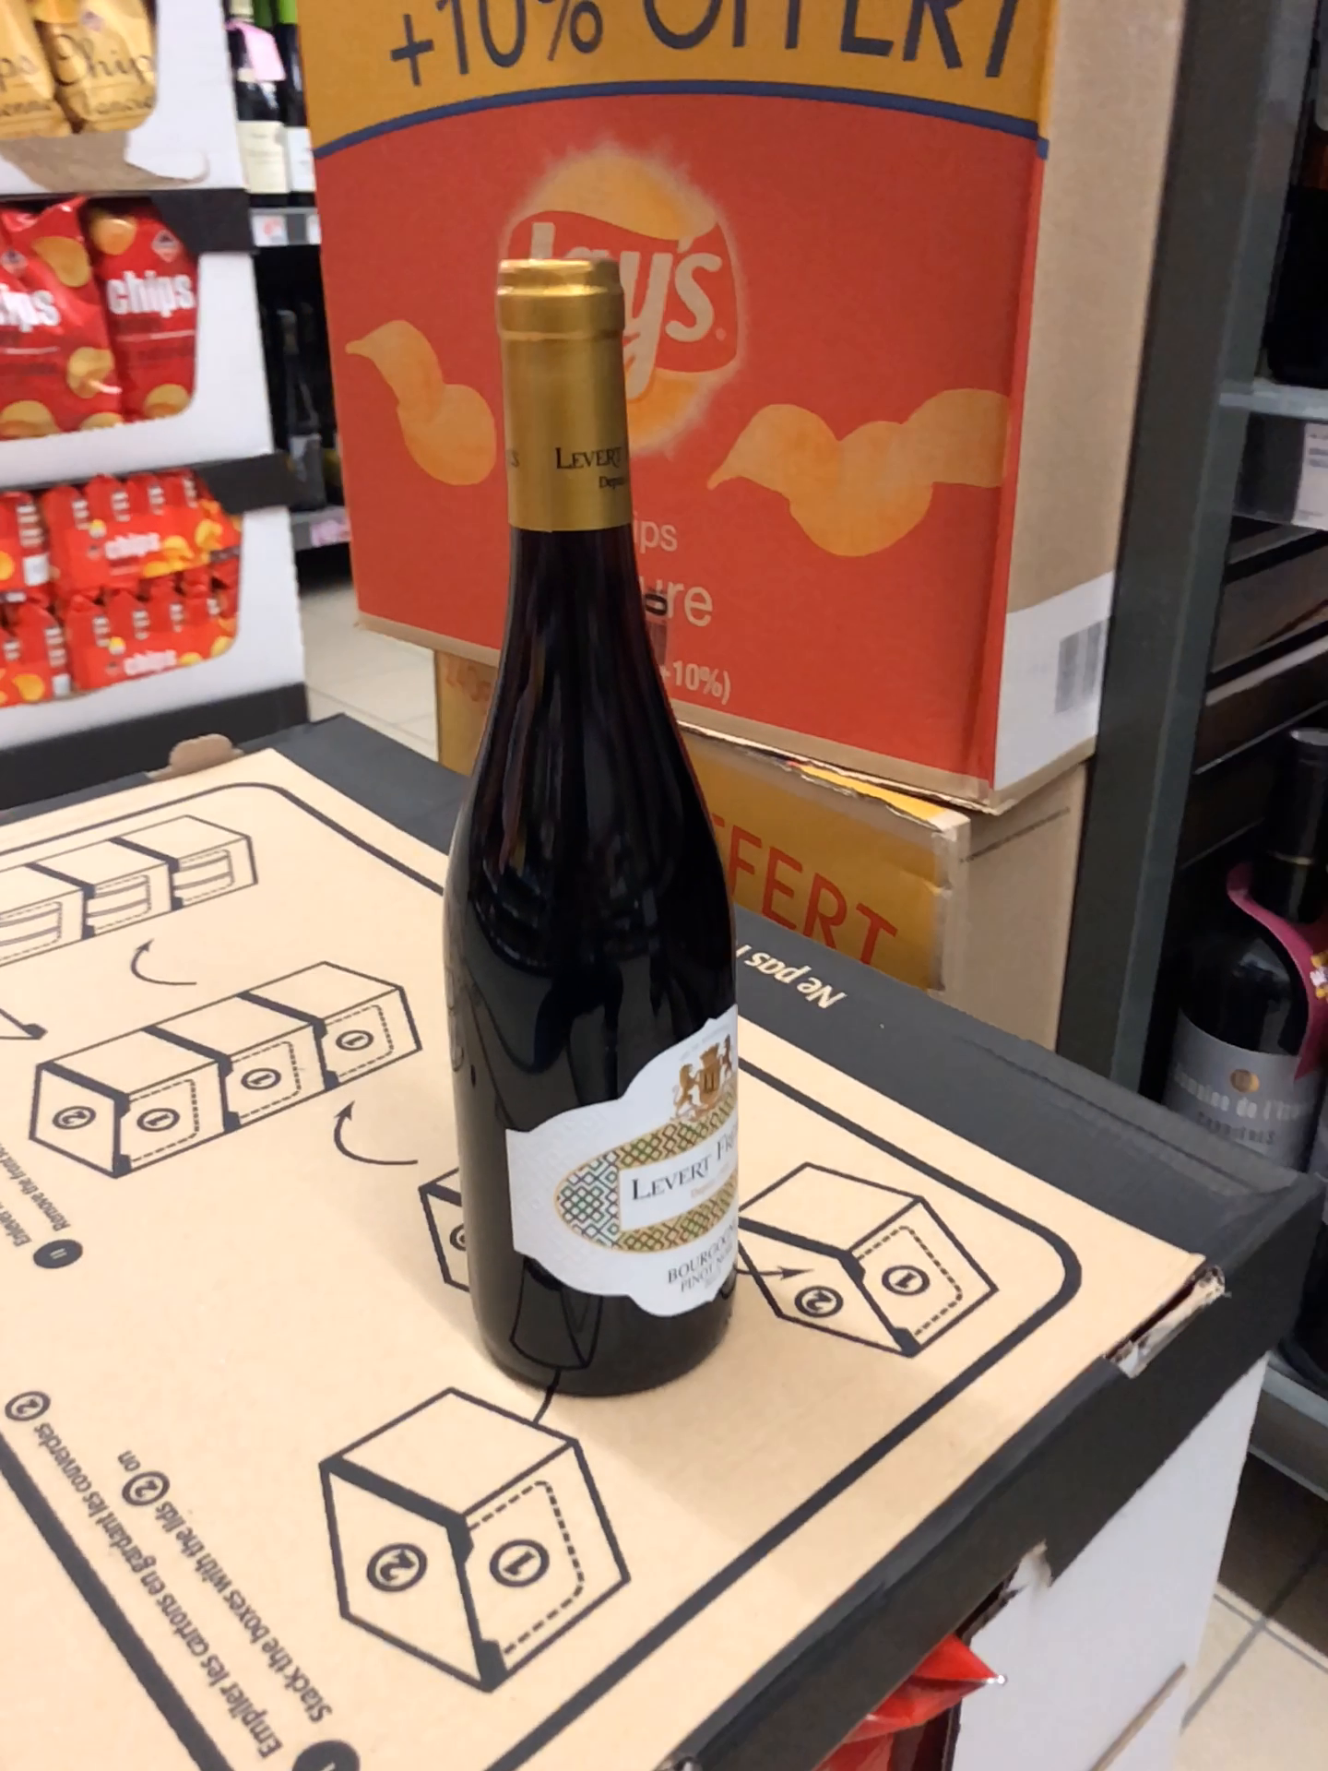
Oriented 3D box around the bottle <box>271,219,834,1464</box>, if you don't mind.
[{"bbox_3d":[-0.022,-0.007,0.379,0.080,0.298,0.090,22,34,38],"label":"bottle"}]
